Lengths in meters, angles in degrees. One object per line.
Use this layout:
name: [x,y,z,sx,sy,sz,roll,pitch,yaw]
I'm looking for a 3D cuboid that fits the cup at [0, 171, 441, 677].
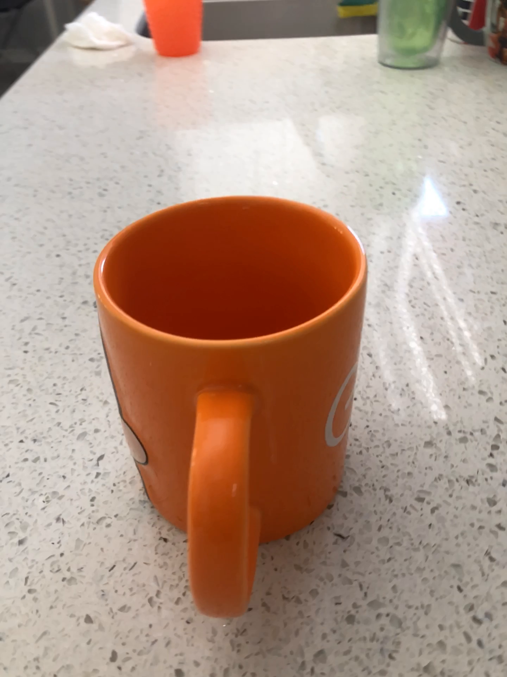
cup: [-0.006,0.020,0.188,0.090,0.101,0.130,0,40,4]
